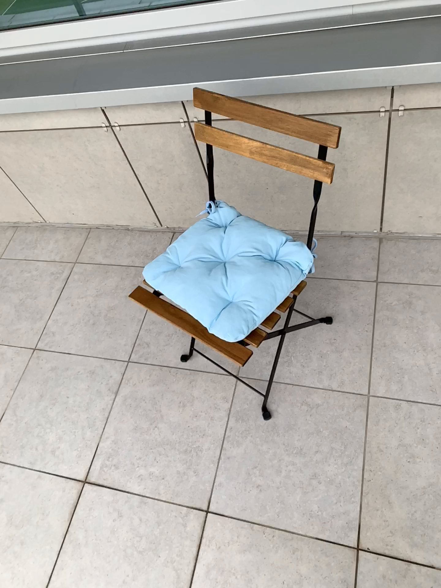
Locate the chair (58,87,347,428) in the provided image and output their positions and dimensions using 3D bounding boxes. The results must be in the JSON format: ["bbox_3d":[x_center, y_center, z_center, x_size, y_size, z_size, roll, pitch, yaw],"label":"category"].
[{"bbox_3d":[0.037,-0.054,1.226,0.418,0.749,0.452,29,68,30],"label":"chair"}]
